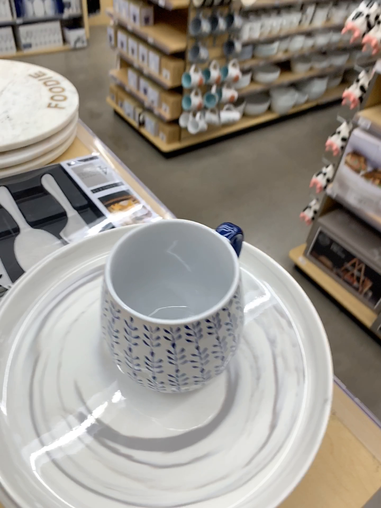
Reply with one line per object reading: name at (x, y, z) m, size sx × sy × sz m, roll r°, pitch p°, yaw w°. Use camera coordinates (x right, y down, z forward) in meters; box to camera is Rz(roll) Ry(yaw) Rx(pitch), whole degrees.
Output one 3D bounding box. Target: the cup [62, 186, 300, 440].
cup at (-0.004, 0.039, 0.299) m, size 0.104 × 0.097 × 0.128 m, roll 30°, pitch 53°, yaw 20°
